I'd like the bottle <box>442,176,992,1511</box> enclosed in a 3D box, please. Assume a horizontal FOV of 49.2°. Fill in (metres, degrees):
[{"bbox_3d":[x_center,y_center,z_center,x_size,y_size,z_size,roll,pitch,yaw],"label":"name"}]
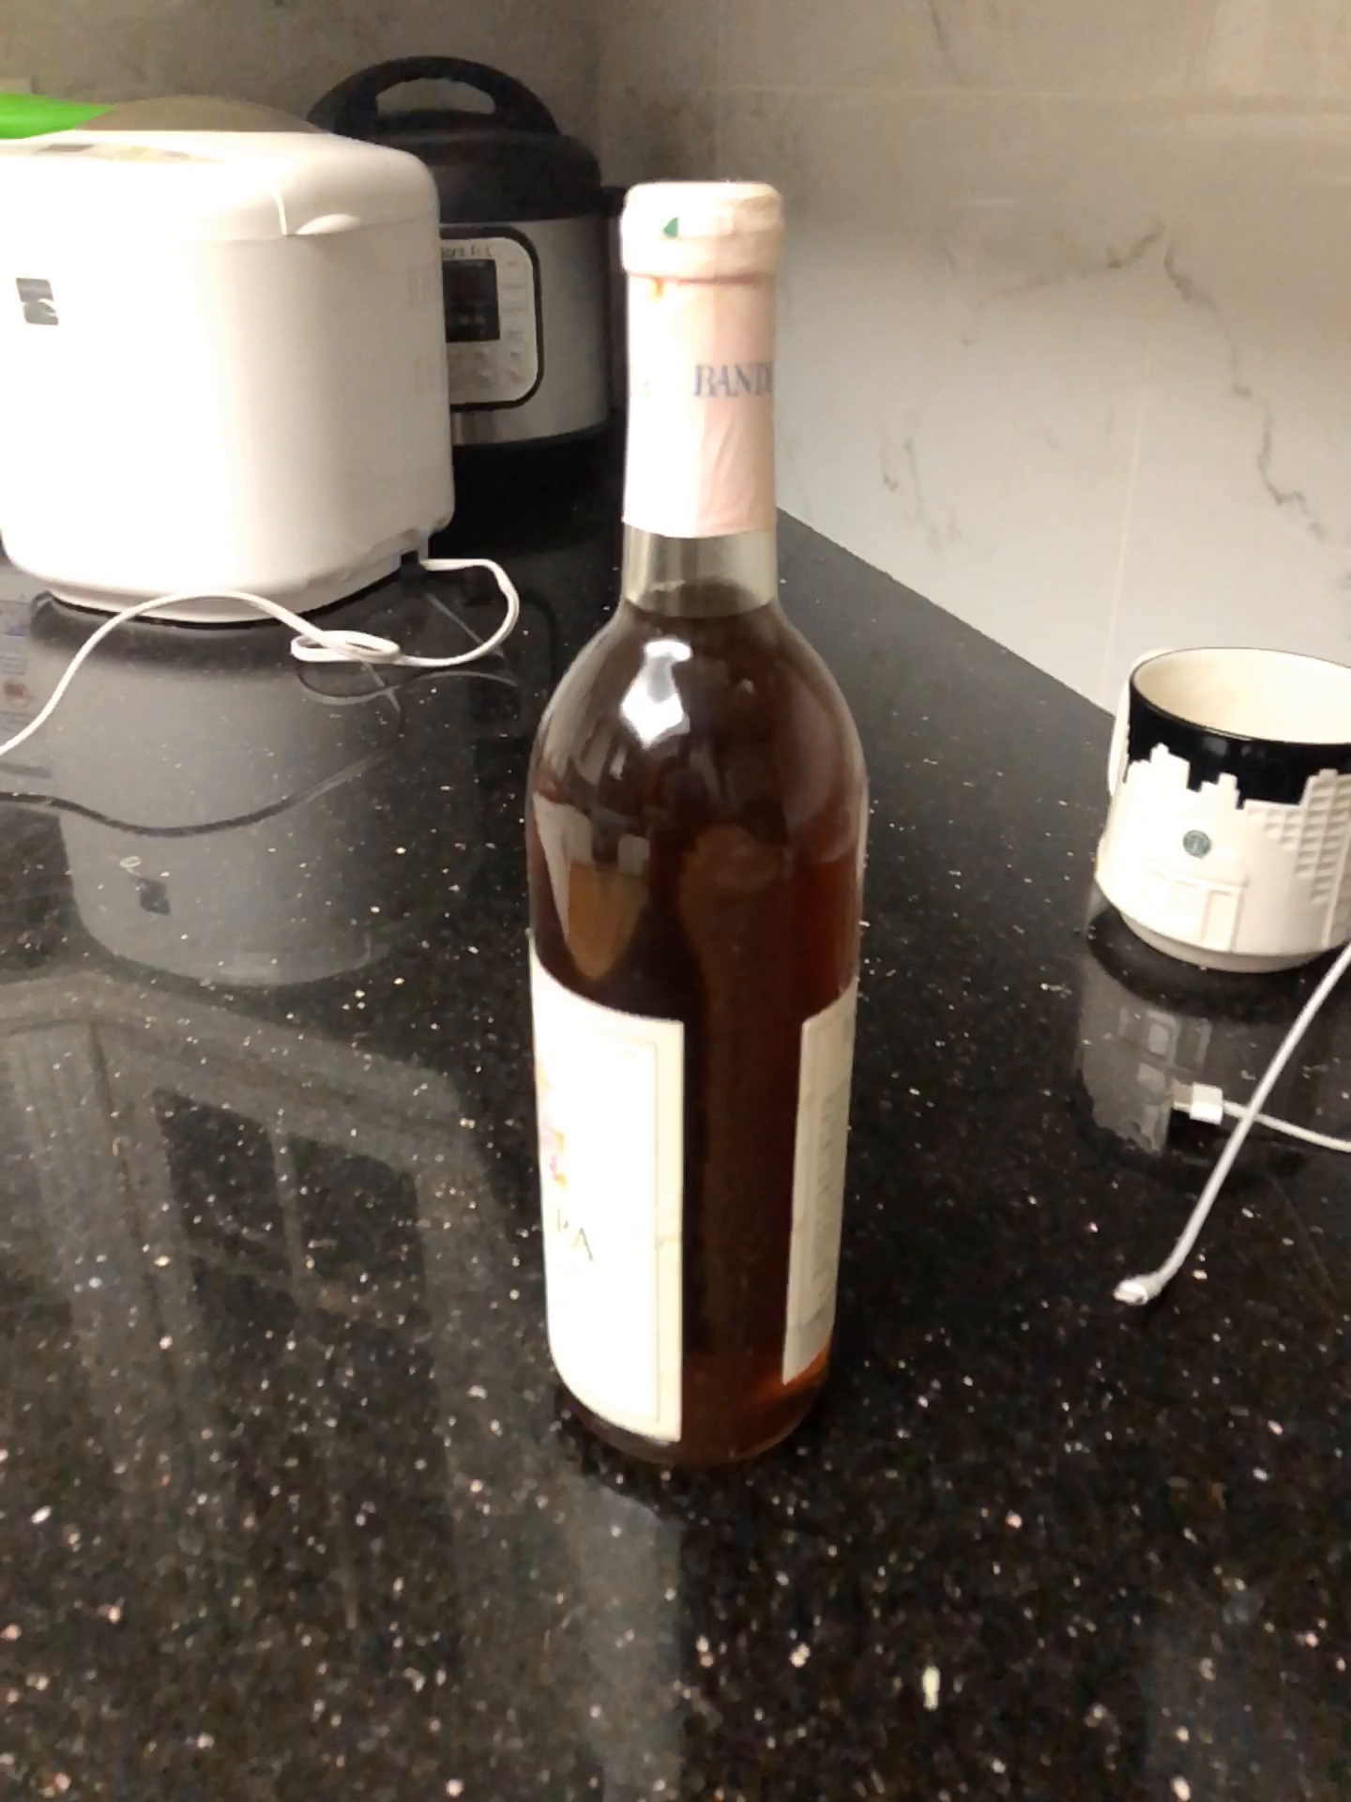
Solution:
[{"bbox_3d":[0.007,0.002,0.316,0.080,0.278,0.080,0,29,0],"label":"bottle"}]
